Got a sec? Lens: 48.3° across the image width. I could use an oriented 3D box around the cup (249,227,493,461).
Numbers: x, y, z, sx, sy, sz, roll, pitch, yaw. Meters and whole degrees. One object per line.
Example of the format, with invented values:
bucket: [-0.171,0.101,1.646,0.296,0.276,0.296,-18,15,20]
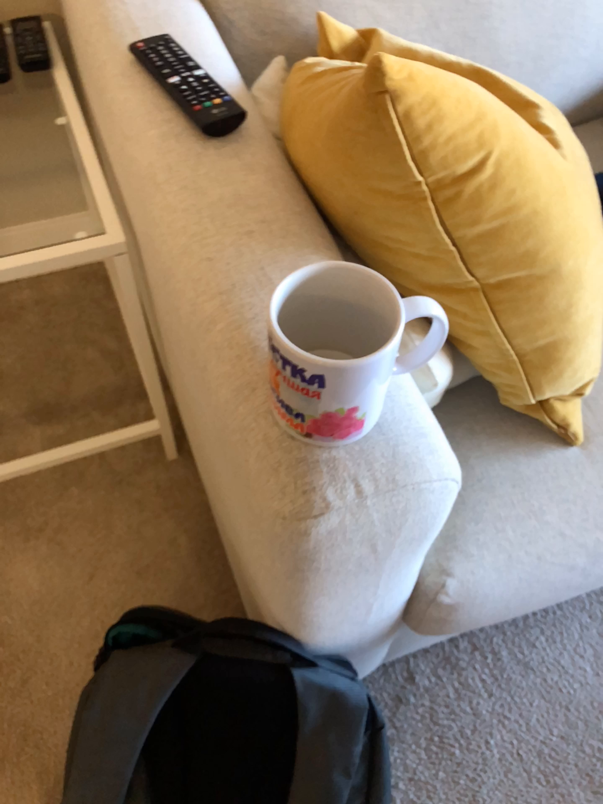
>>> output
cup: [0.036,-0.035,0.427,0.120,0.100,0.080,-13,57,-11]
